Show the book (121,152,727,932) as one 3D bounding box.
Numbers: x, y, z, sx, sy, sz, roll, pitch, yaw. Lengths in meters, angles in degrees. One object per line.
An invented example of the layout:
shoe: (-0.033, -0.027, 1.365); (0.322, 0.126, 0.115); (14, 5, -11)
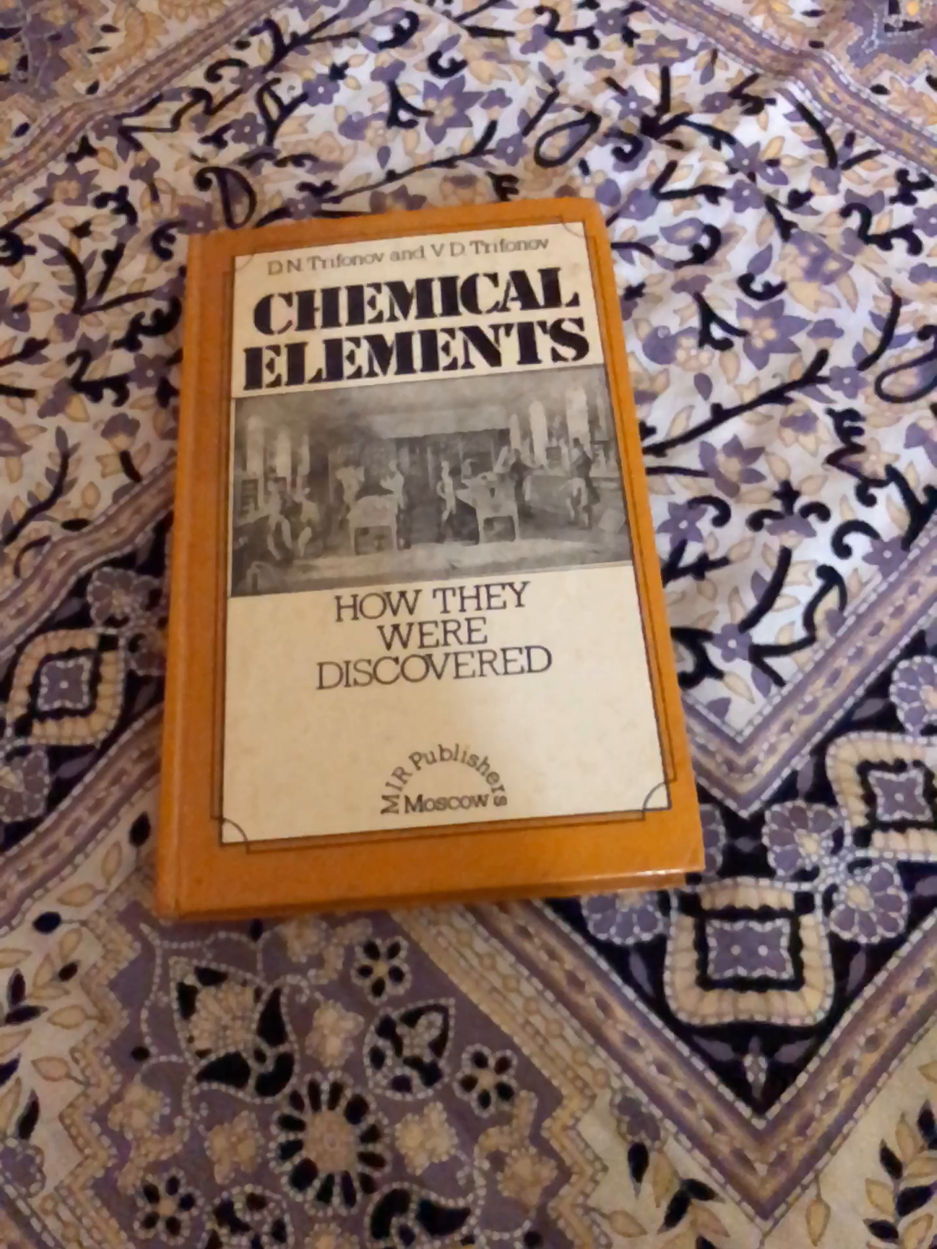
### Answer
book: (-0.018, -0.034, 0.299); (0.140, 0.030, 0.220); (-5, 67, 1)
